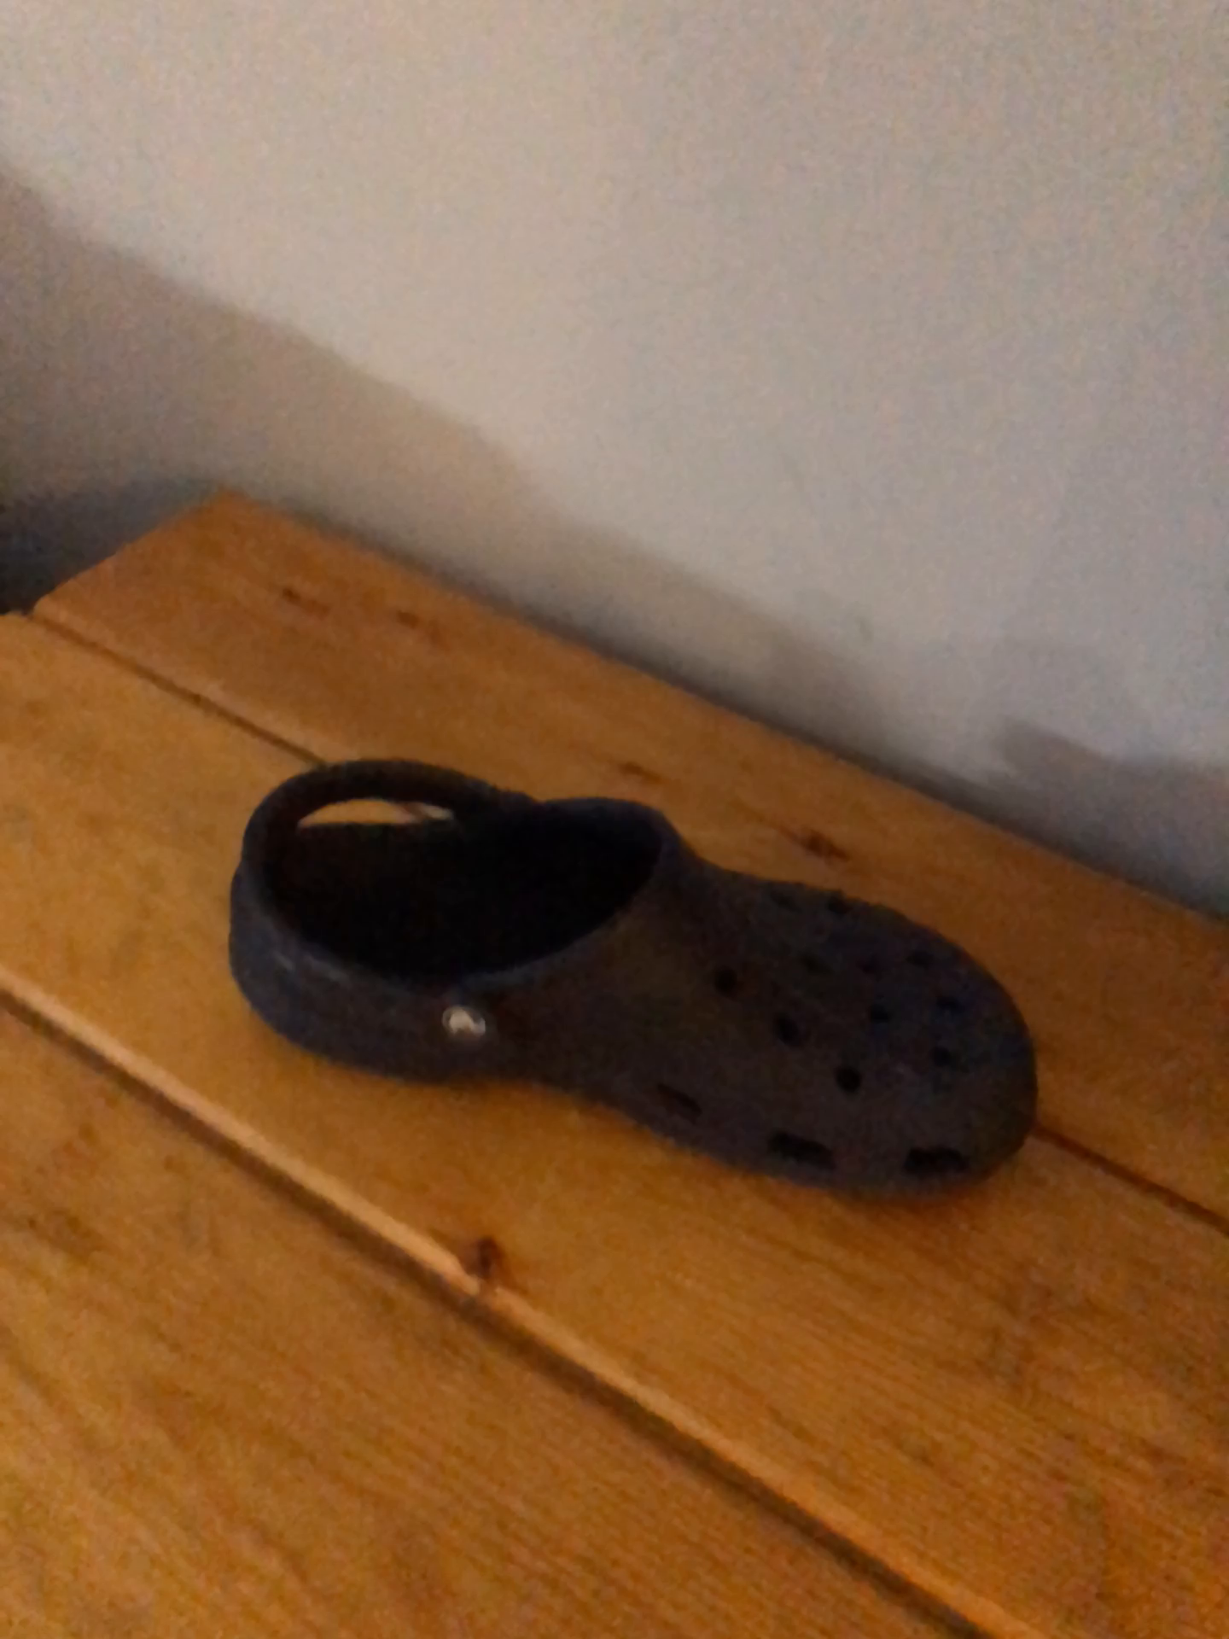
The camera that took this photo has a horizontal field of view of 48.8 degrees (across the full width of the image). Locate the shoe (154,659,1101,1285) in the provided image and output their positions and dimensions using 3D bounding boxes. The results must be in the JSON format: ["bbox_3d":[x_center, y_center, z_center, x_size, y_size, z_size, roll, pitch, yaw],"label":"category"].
[{"bbox_3d":[0.010,0.044,0.475,0.290,0.080,0.130,14,43,9],"label":"shoe"}]
